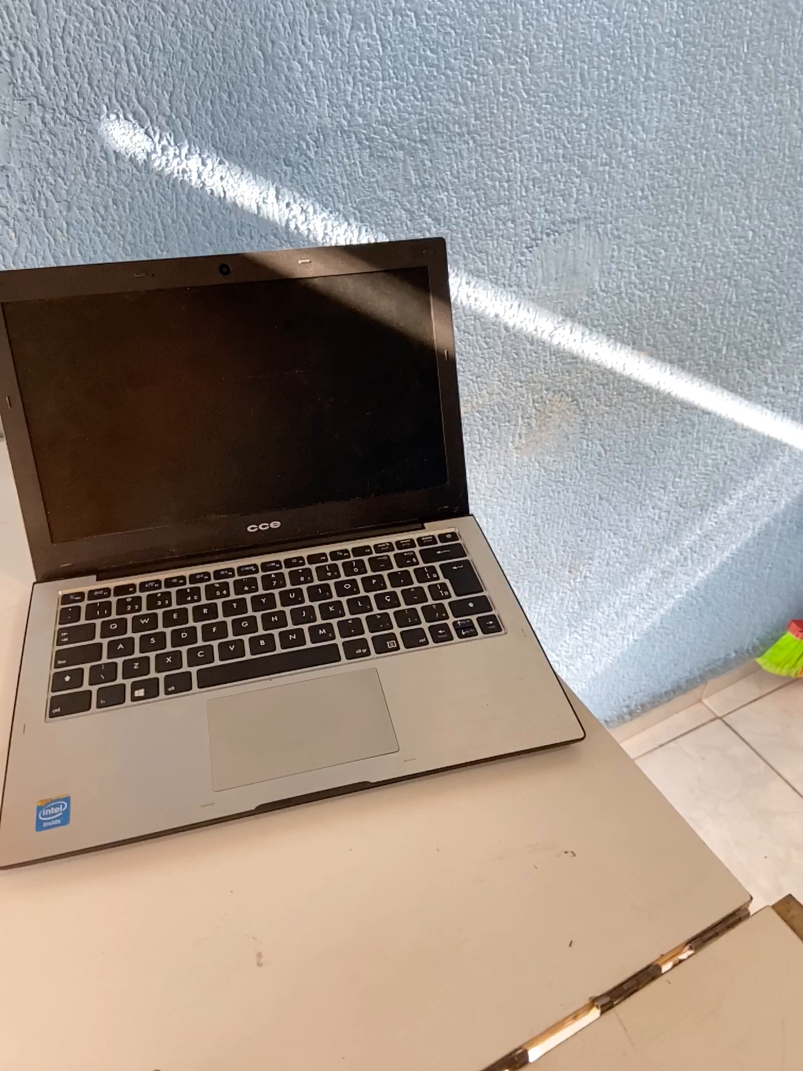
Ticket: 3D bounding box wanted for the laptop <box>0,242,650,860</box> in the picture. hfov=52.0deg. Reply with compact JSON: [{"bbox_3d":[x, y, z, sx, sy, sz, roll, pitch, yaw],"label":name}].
[{"bbox_3d":[-0.080,-0.025,0.500,0.313,0.181,0.305,-8,40,-12],"label":"laptop"}]
